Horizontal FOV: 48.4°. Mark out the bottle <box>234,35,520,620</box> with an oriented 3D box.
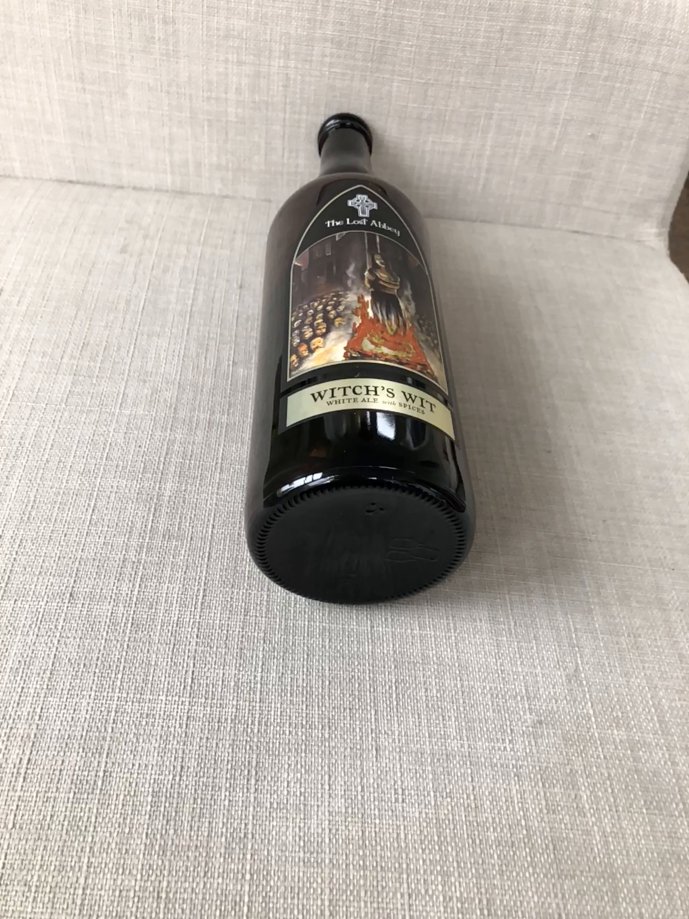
[{"bbox_3d":[0.004,-0.078,0.335,0.080,0.079,0.282,4,51,-6],"label":"bottle"}]
